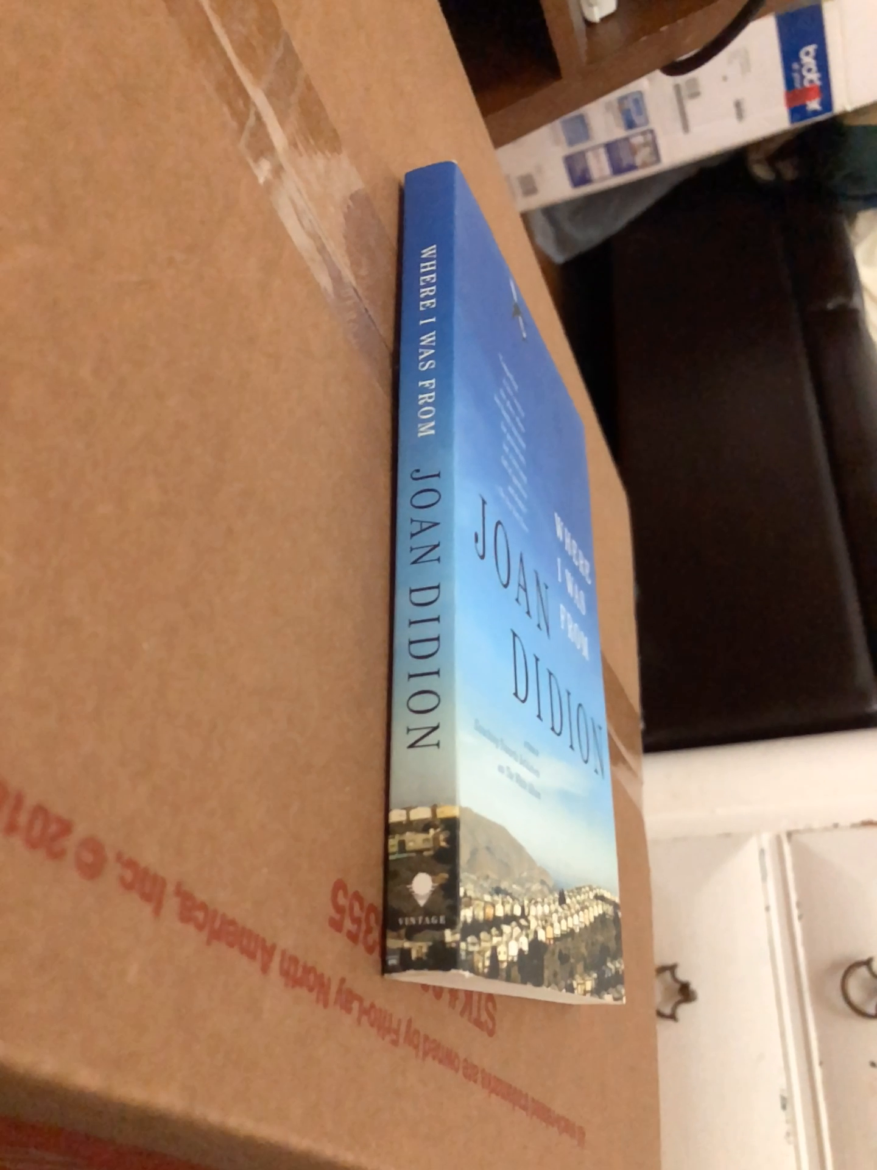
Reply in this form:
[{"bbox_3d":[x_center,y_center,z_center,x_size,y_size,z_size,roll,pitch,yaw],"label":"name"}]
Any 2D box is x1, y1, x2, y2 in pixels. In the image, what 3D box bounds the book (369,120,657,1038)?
[{"bbox_3d":[0.024,0.006,0.265,0.140,0.020,0.210,45,39,-56],"label":"book"}]
